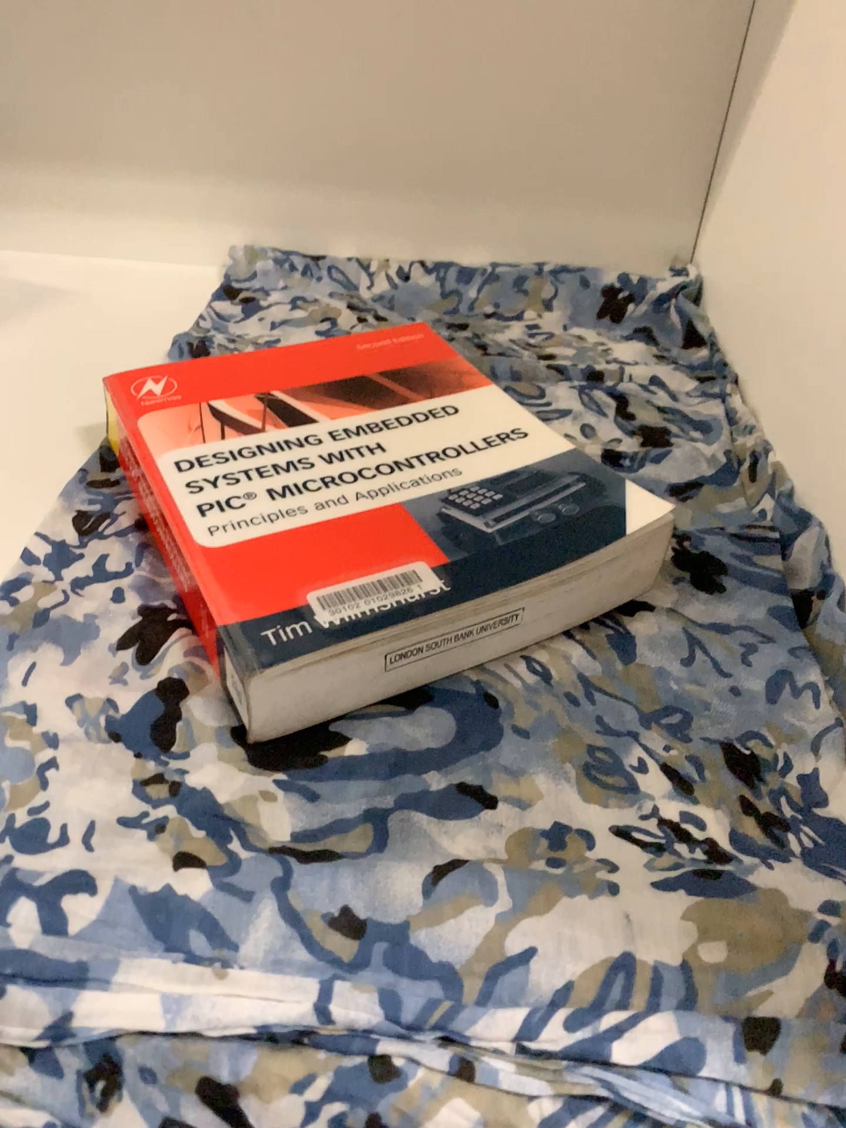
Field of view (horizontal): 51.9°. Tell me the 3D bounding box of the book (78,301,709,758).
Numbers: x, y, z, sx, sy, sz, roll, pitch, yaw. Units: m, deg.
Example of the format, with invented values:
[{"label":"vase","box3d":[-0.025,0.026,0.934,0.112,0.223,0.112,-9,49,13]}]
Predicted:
[{"label":"book","box3d":[-0.029,-0.045,0.418,0.210,0.050,0.238,-16,42,-23]}]
